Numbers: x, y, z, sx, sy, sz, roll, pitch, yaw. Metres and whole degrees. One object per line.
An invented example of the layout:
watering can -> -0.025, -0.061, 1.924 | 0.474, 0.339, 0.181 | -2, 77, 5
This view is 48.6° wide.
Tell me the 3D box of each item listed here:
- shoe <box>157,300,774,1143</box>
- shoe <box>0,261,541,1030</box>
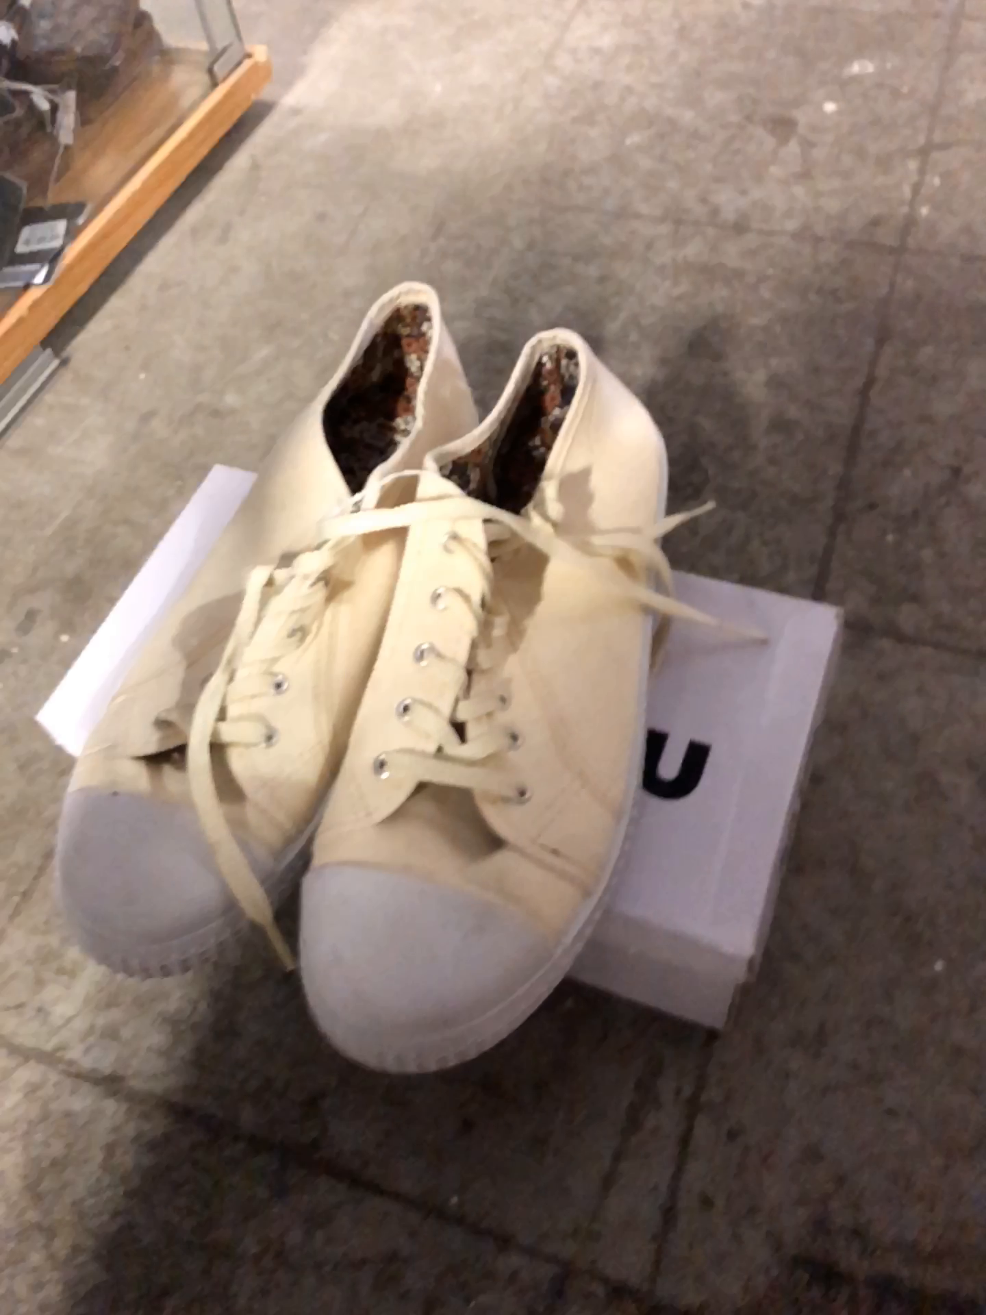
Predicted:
shoe -> 0.010, 0.003, 0.352 | 0.100, 0.079, 0.251 | 13, 58, 16
shoe -> -0.069, -0.021, 0.385 | 0.090, 0.079, 0.261 | 13, 58, 16
